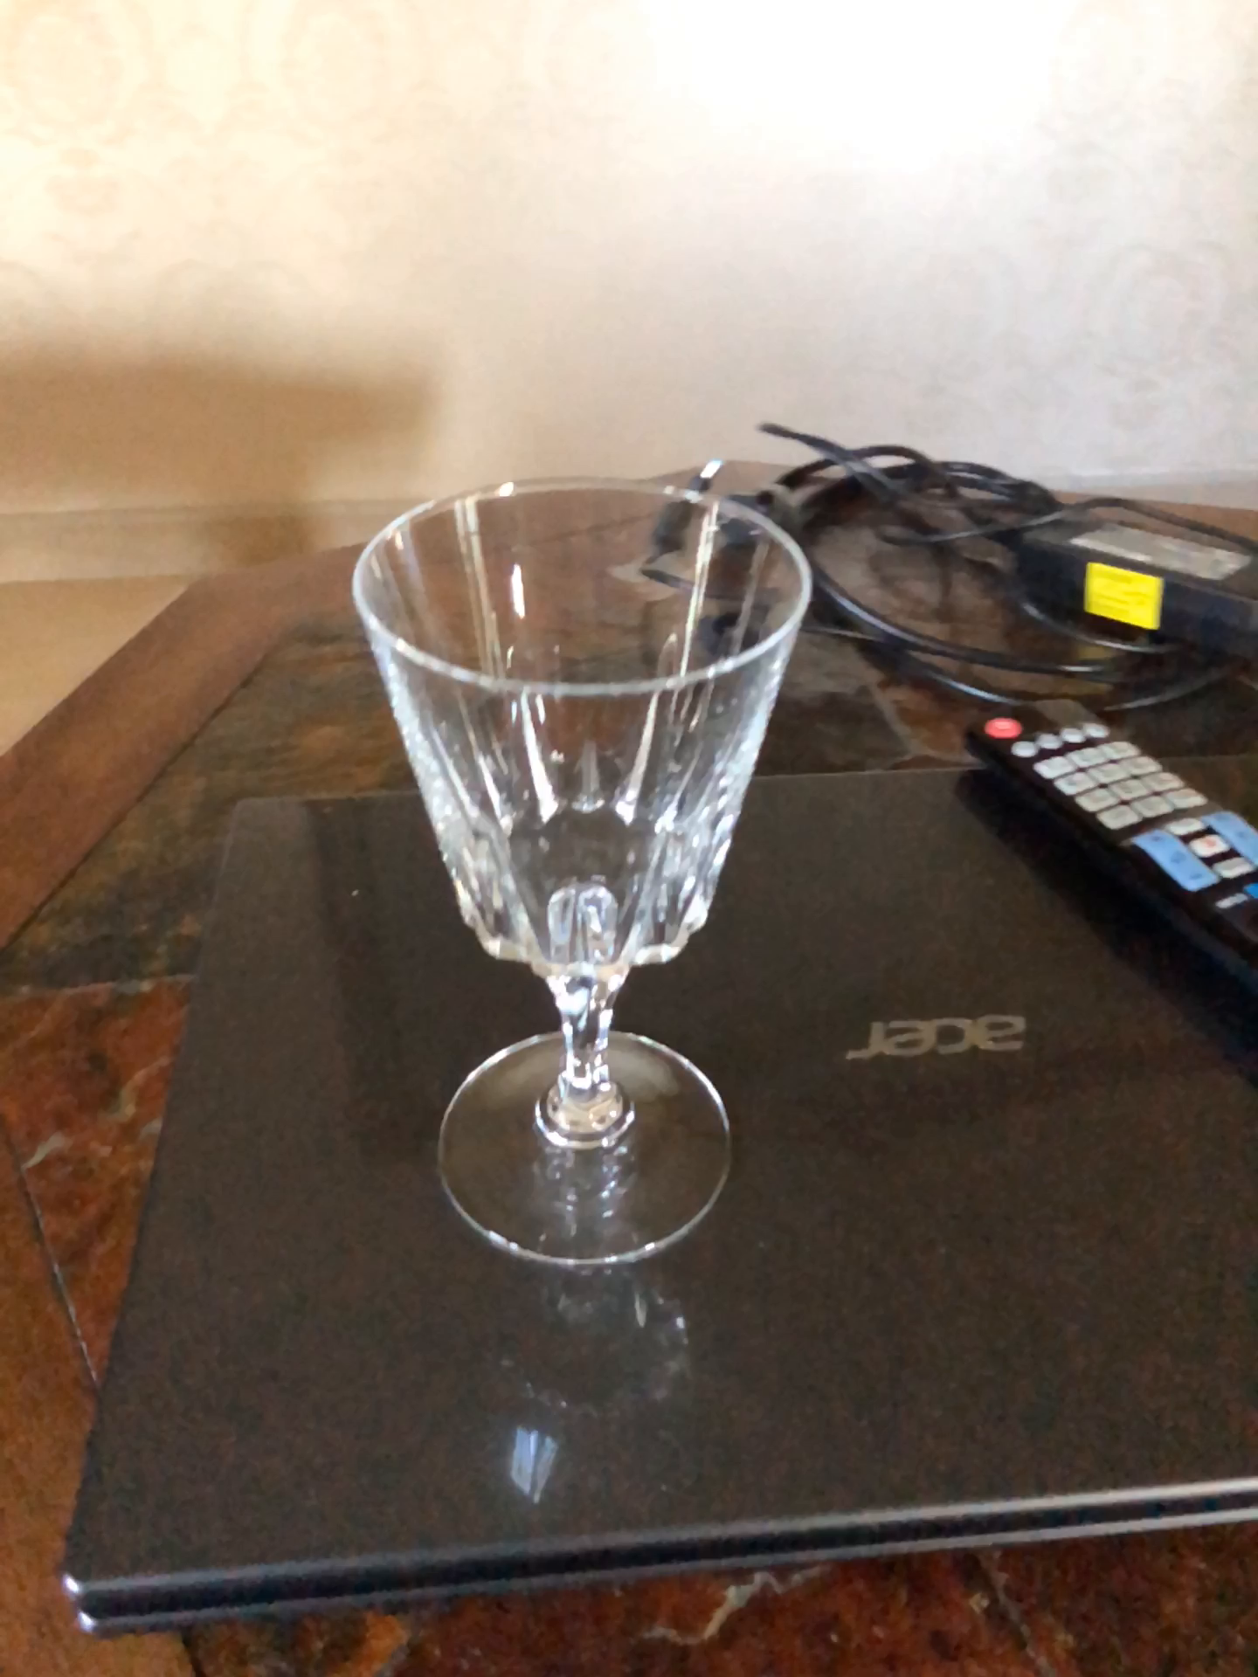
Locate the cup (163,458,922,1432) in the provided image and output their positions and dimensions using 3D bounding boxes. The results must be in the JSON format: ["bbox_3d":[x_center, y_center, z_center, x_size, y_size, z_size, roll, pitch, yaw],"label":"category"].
[{"bbox_3d":[-0.016,0.020,0.305,0.100,0.159,0.101,0,36,0],"label":"cup"}]
